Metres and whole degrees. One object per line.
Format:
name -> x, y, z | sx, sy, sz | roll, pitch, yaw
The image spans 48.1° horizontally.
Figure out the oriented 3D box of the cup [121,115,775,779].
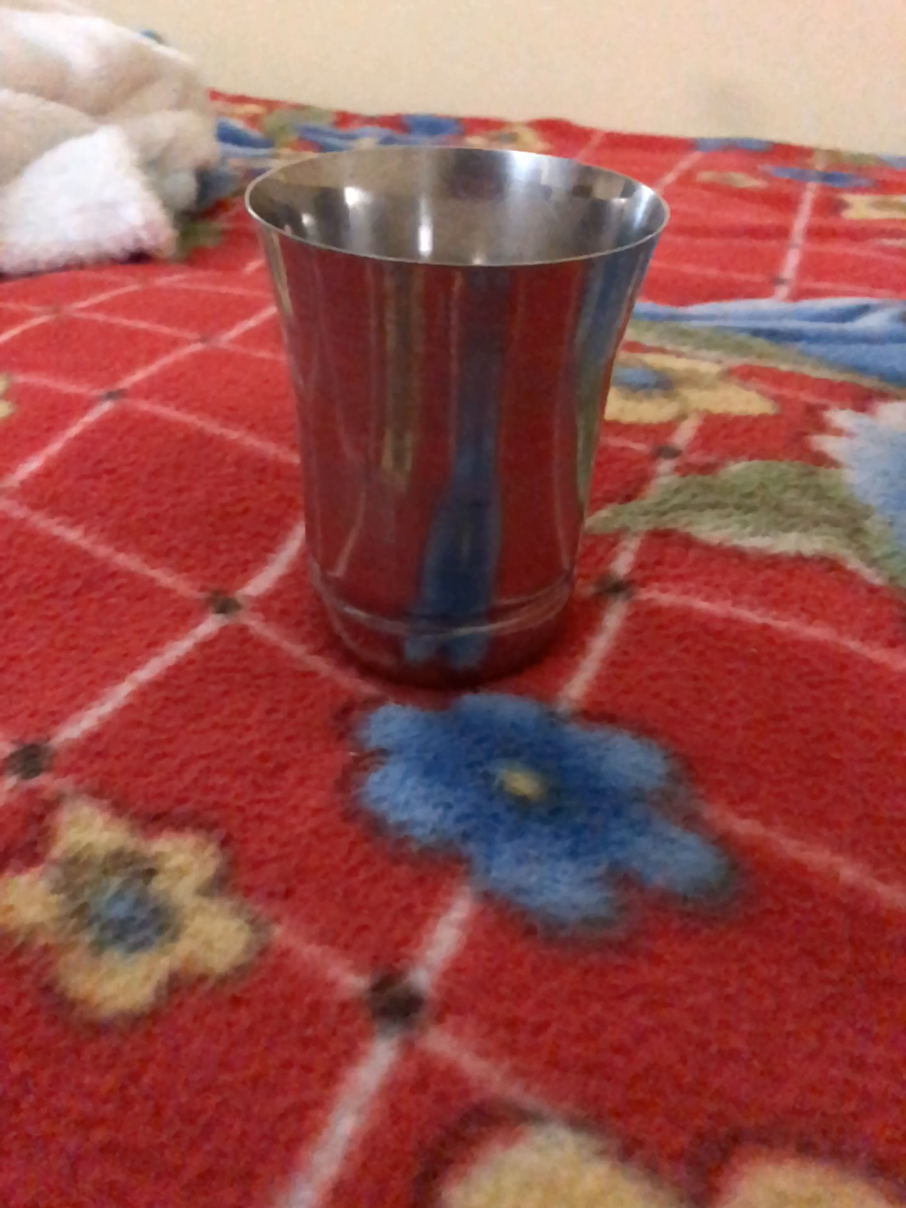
cup -> 0.001, -0.040, 0.210 | 0.089, 0.090, 0.087 | 4, 35, -3
